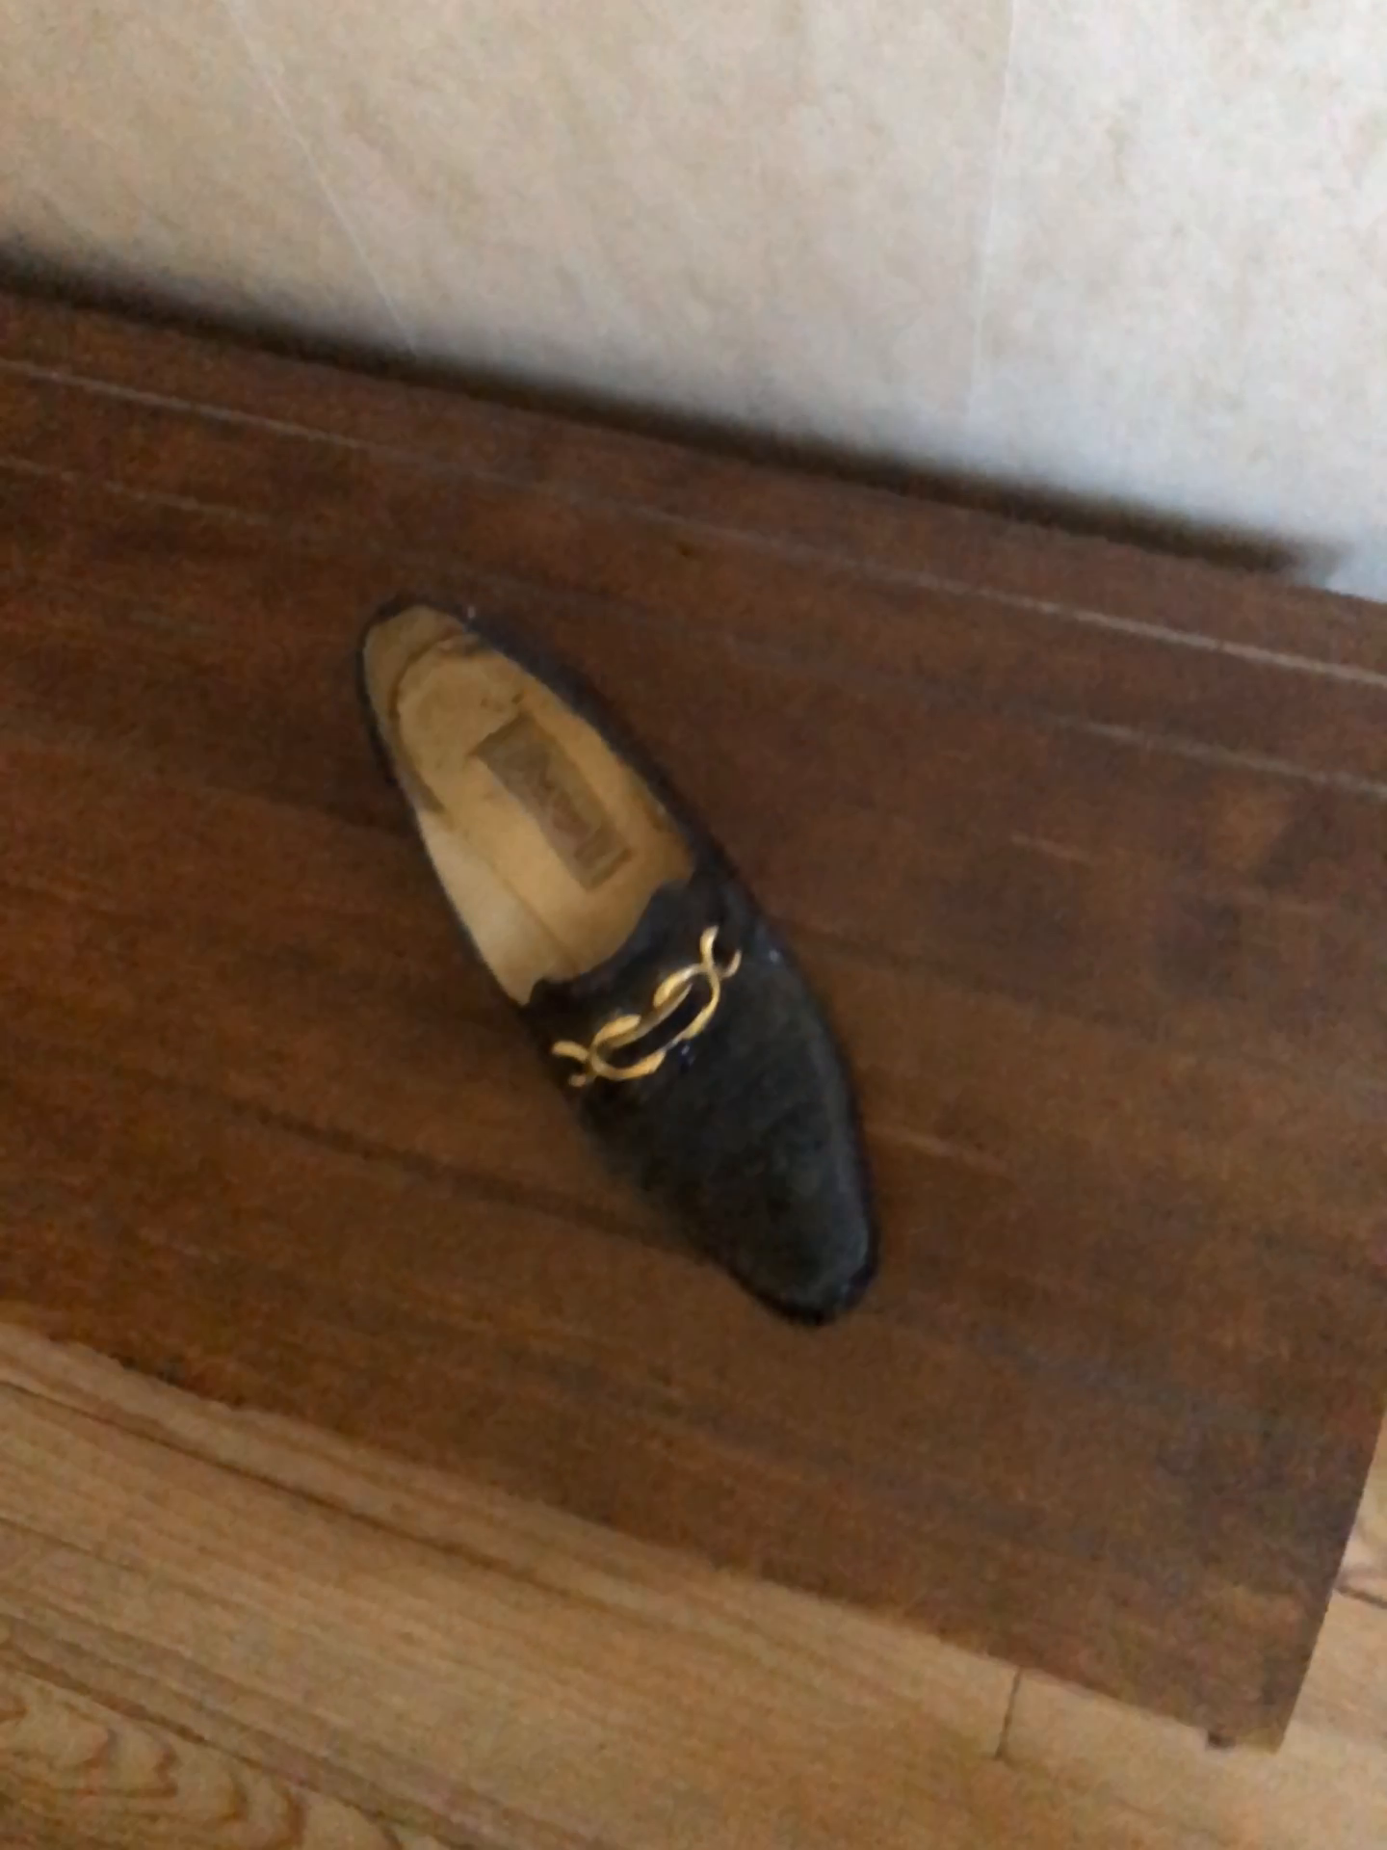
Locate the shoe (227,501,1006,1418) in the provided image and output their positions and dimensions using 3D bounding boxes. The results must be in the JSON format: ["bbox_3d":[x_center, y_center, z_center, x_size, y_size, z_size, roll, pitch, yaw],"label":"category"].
[{"bbox_3d":[-0.021,0.010,0.456,0.090,0.100,0.240,-36,77,-1],"label":"shoe"}]
